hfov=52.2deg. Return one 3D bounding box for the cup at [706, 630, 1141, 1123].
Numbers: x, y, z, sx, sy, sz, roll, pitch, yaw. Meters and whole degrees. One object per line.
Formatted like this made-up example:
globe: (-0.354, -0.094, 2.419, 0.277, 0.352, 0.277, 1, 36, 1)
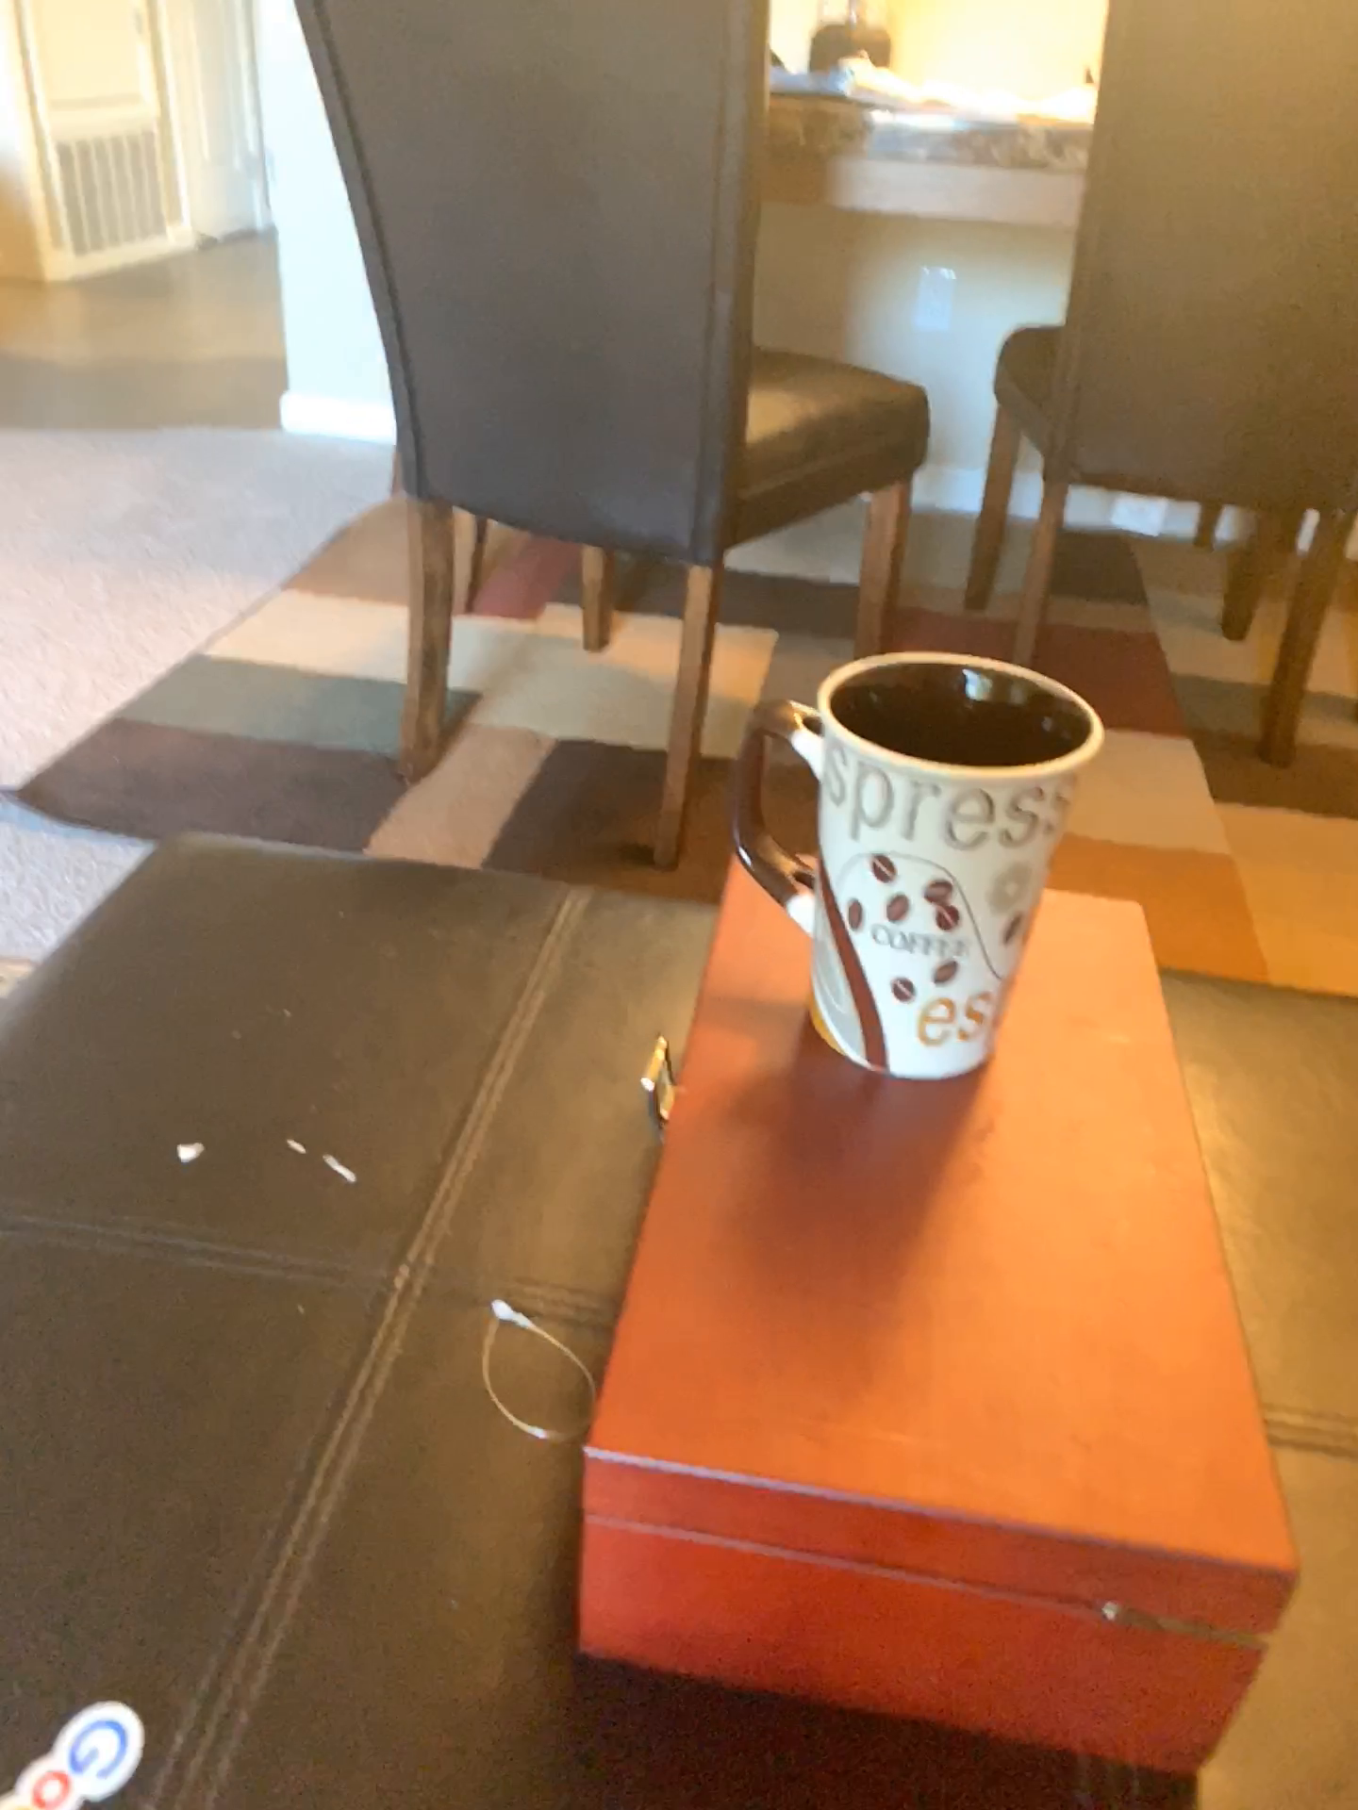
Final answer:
cup: (0.078, -0.014, 0.458, 0.100, 0.109, 0.090, 20, 36, 23)
